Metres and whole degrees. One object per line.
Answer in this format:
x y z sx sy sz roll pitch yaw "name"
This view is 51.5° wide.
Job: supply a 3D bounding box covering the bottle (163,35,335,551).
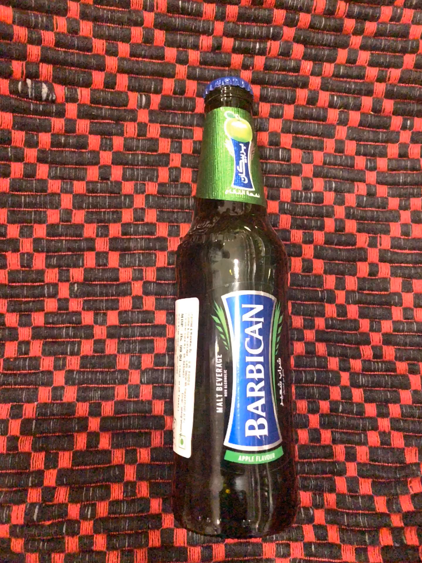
0.011 -0.004 0.227 0.070 0.050 0.238 1 77 -8 "bottle"
